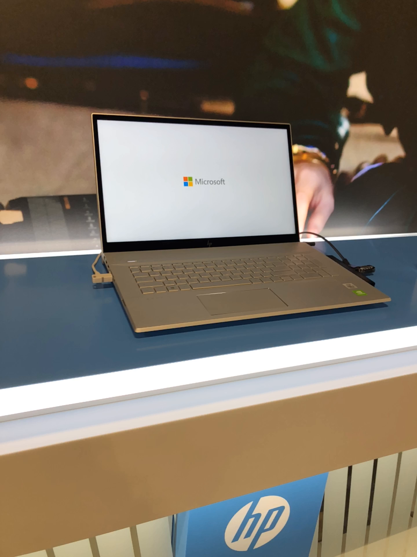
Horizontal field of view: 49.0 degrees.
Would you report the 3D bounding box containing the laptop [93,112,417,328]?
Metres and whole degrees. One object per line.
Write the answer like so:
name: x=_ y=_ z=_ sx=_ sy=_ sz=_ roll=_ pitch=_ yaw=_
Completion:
laptop: x=0.038 y=-0.135 z=0.772 sx=0.400 sy=0.217 sz=0.385 roll=-5 pitch=25 yaw=-20
